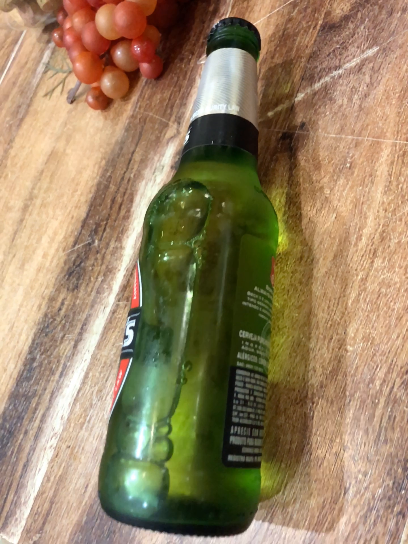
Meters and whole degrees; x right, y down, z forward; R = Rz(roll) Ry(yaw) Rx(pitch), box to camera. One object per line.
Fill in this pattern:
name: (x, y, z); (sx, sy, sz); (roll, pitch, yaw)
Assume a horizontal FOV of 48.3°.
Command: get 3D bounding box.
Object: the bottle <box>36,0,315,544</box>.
bottle: (0.001, -0.017, 0.200); (0.070, 0.060, 0.230); (-4, 68, 31)
